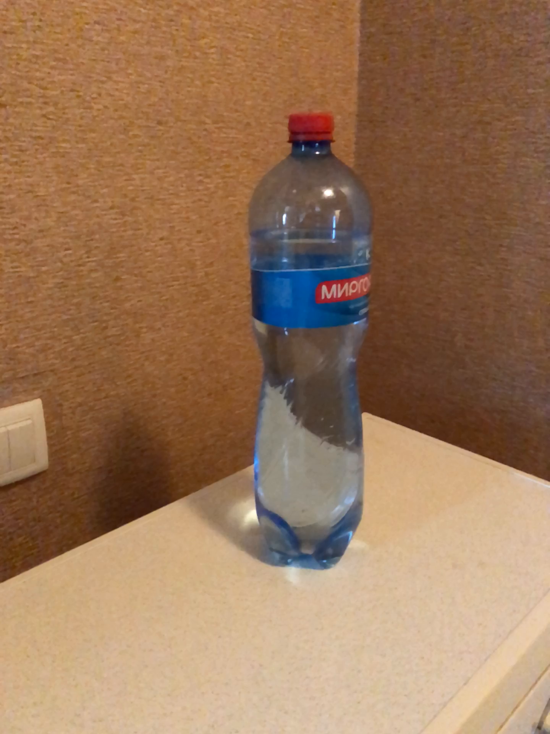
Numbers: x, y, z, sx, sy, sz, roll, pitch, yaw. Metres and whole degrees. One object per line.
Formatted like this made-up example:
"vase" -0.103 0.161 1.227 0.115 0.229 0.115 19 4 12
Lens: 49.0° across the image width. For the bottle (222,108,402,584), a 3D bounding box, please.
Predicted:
"bottle" 0.029 -0.014 0.445 0.100 0.318 0.100 0 19 0
